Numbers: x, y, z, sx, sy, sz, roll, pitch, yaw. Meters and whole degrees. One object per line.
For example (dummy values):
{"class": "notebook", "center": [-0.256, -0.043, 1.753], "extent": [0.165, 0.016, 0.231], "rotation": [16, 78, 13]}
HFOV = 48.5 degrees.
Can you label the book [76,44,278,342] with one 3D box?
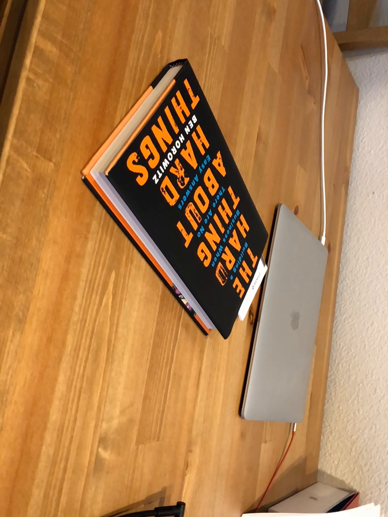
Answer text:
{"class": "book", "center": [0.008, -0.049, 0.401], "extent": [0.221, 0.030, 0.160], "rotation": [56, 48, -40]}
